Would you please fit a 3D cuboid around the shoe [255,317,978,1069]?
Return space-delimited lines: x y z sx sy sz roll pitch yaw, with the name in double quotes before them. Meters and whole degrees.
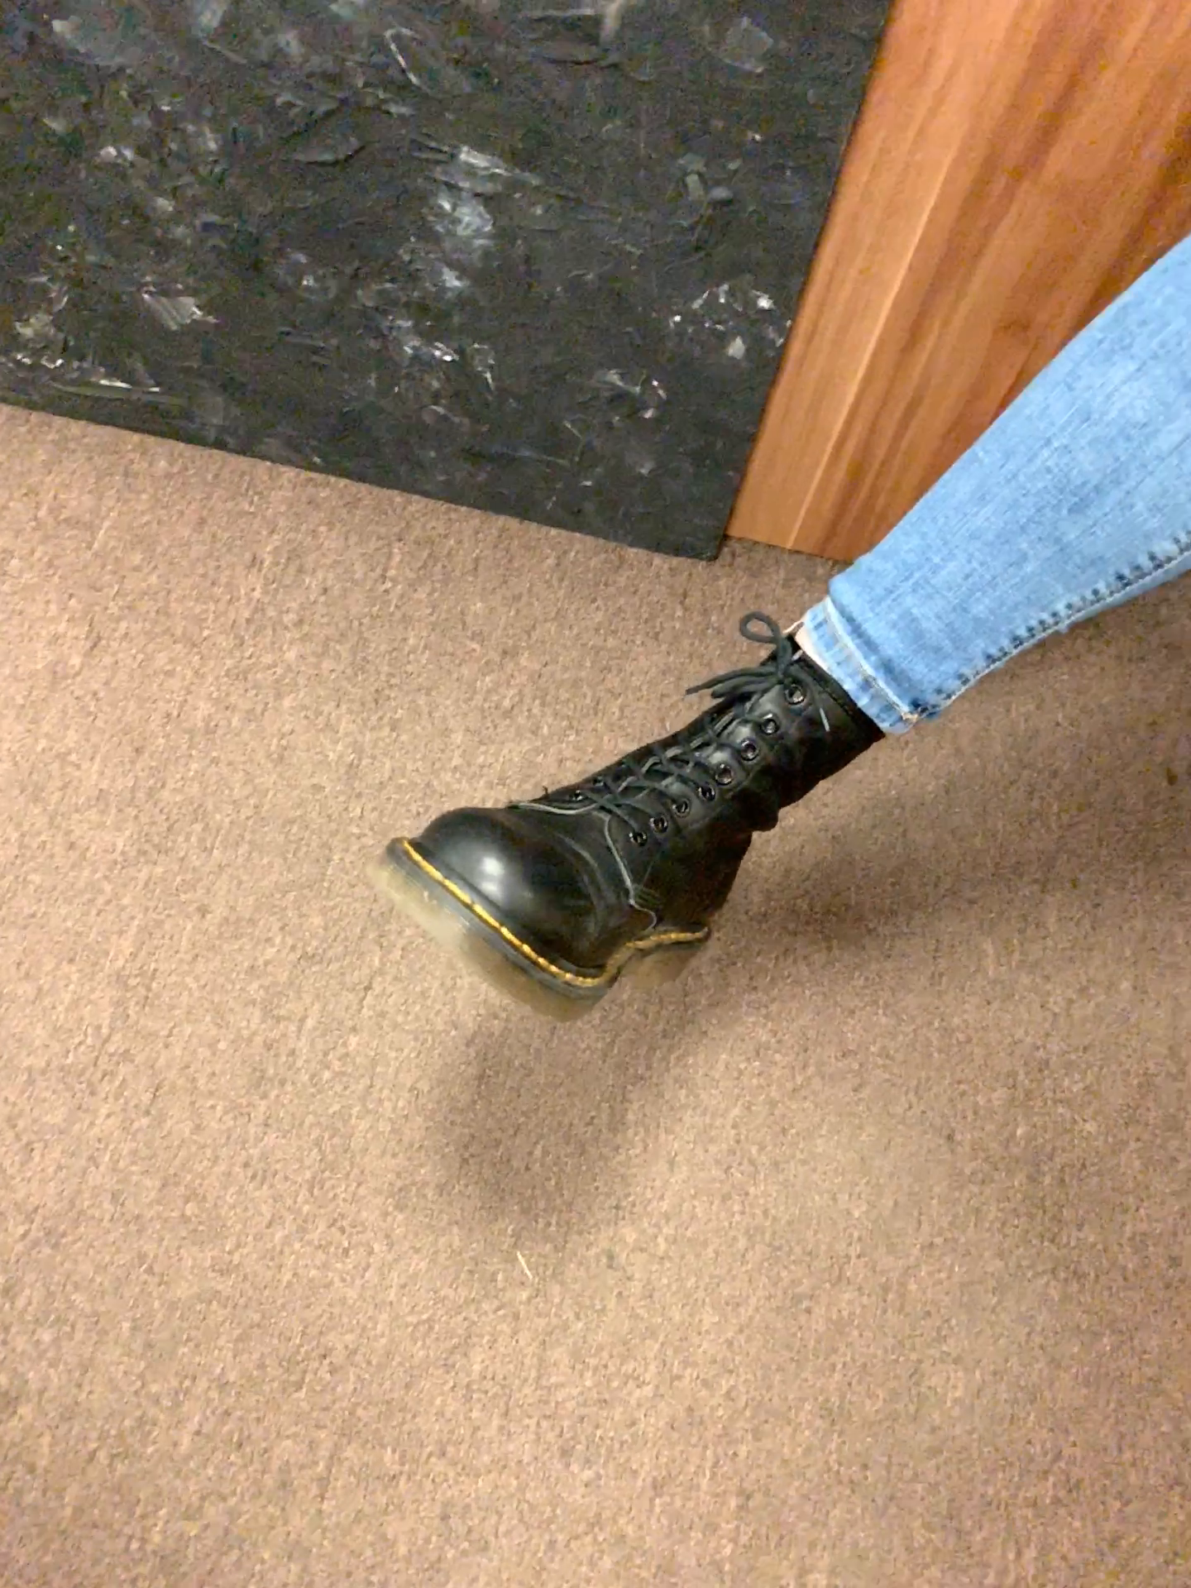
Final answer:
"shoe" 0.043 -0.024 0.583 0.120 0.370 0.230 44 97 12
